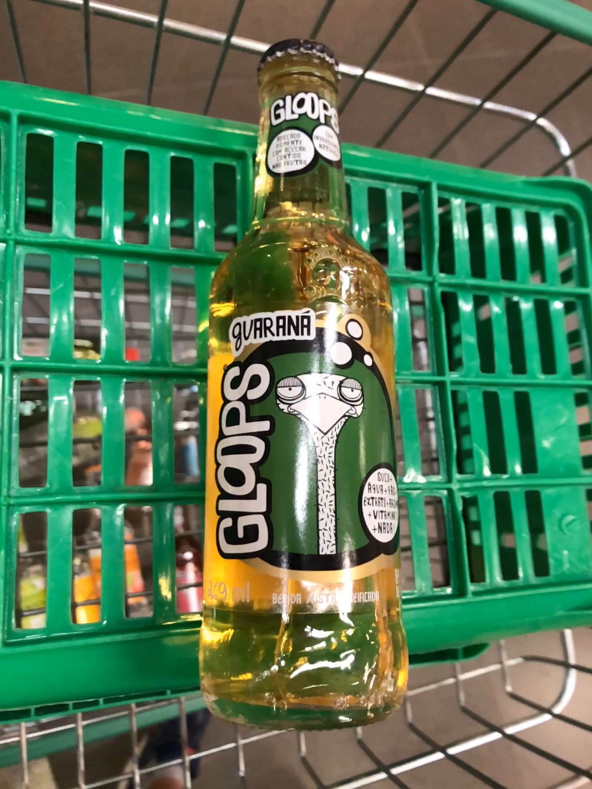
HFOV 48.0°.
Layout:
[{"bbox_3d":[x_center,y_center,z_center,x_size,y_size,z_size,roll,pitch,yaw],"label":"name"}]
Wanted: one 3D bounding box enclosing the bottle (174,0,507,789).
[{"bbox_3d":[0.008,-0.013,0.197,0.070,0.060,0.220,4,79,-21],"label":"bottle"}]
